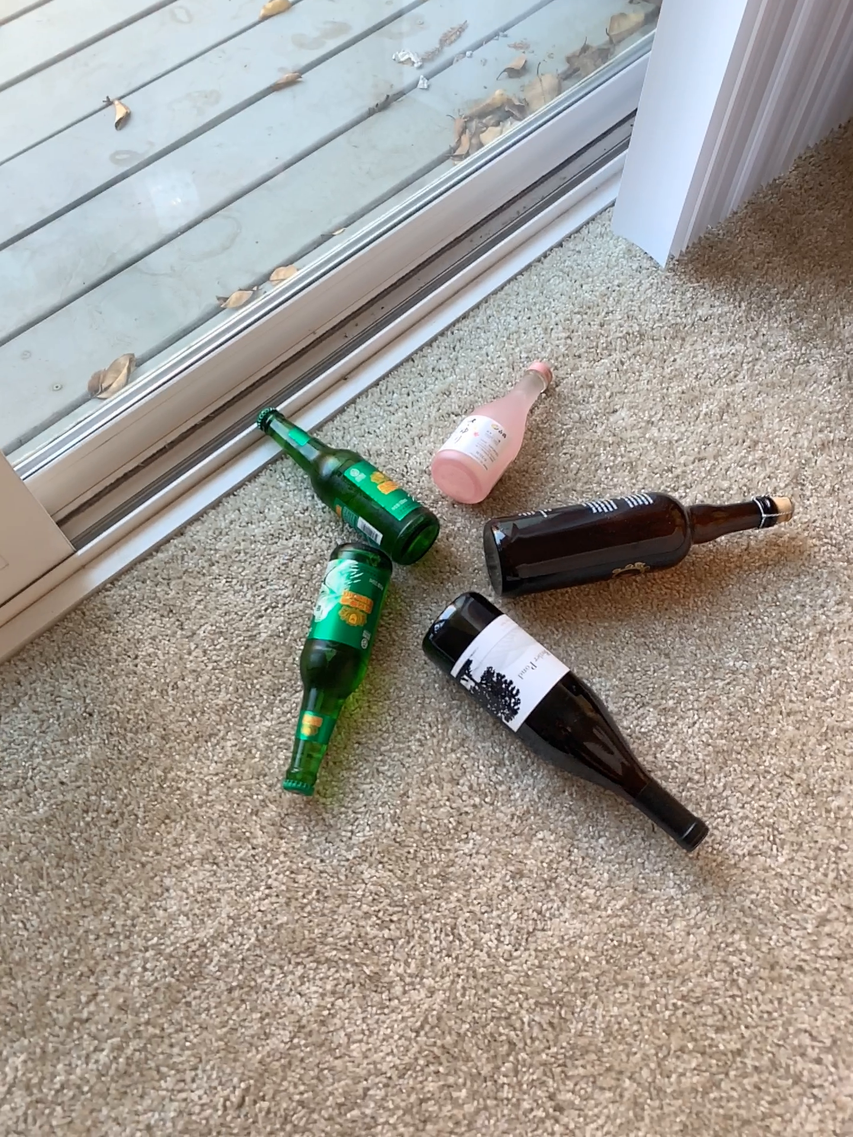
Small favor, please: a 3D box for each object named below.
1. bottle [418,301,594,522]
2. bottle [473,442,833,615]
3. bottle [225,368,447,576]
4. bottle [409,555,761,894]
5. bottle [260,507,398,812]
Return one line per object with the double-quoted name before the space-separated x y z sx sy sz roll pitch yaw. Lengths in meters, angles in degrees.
"bottle" 0.078 -0.157 0.864 0.070 0.090 0.200 32 67 16
"bottle" 0.204 -0.037 0.818 0.310 0.090 0.070 -11 63 -5
"bottle" -0.089 -0.096 0.859 0.230 0.080 0.060 36 69 17
"bottle" 0.117 0.125 0.722 0.070 0.090 0.301 -42 70 -19
"bottle" -0.077 0.076 0.752 0.060 0.090 0.241 8 63 5
